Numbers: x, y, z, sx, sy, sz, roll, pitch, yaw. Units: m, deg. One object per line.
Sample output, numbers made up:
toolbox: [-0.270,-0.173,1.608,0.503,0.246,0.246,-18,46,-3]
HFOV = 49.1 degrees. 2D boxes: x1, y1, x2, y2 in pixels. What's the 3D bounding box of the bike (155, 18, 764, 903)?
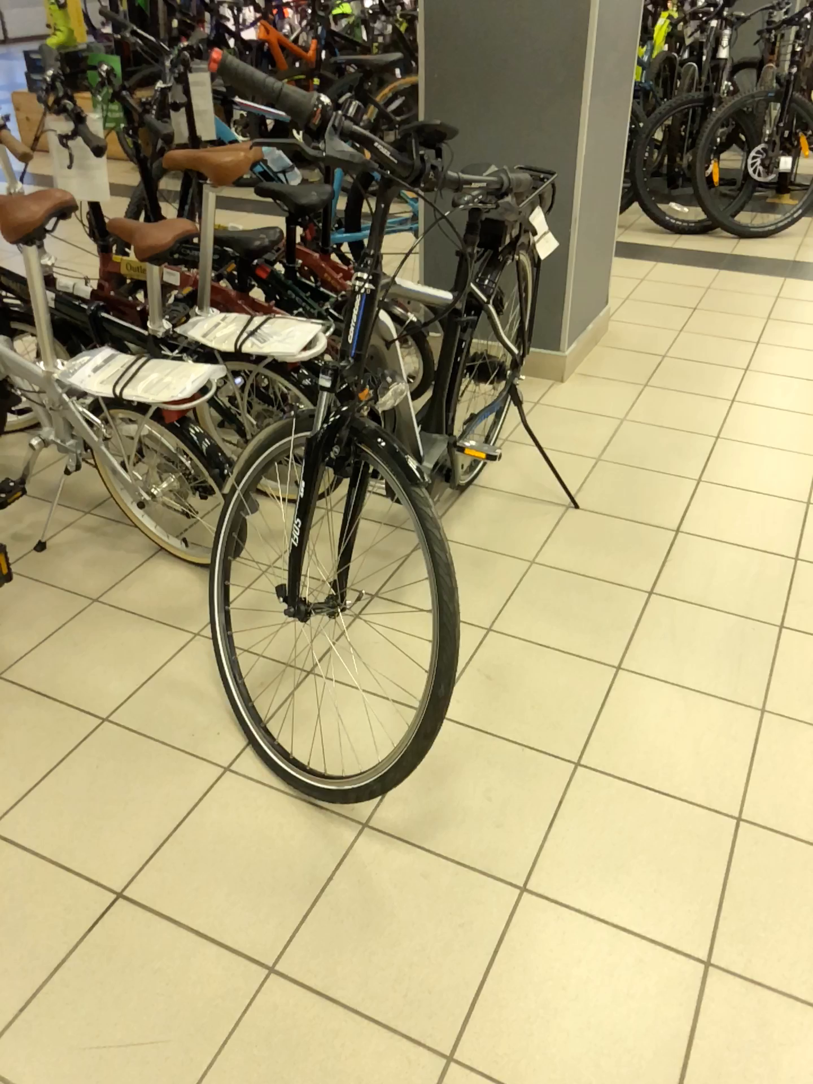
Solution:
bike: [0.190,-0.383,1.957,0.696,1.176,1.621,6,35,10]
